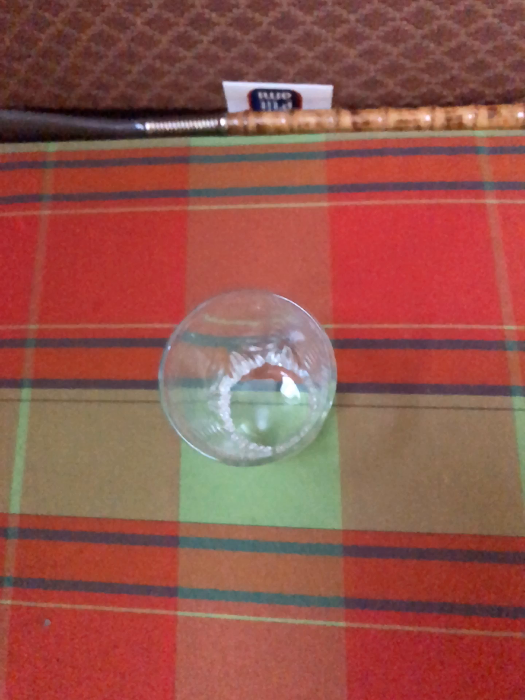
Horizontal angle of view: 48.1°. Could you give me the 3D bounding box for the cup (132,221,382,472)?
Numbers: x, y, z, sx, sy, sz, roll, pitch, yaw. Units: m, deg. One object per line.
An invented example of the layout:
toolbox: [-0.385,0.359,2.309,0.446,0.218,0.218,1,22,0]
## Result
cup: [0.002,0.005,0.248,0.070,0.080,0.070,-2,79,8]
